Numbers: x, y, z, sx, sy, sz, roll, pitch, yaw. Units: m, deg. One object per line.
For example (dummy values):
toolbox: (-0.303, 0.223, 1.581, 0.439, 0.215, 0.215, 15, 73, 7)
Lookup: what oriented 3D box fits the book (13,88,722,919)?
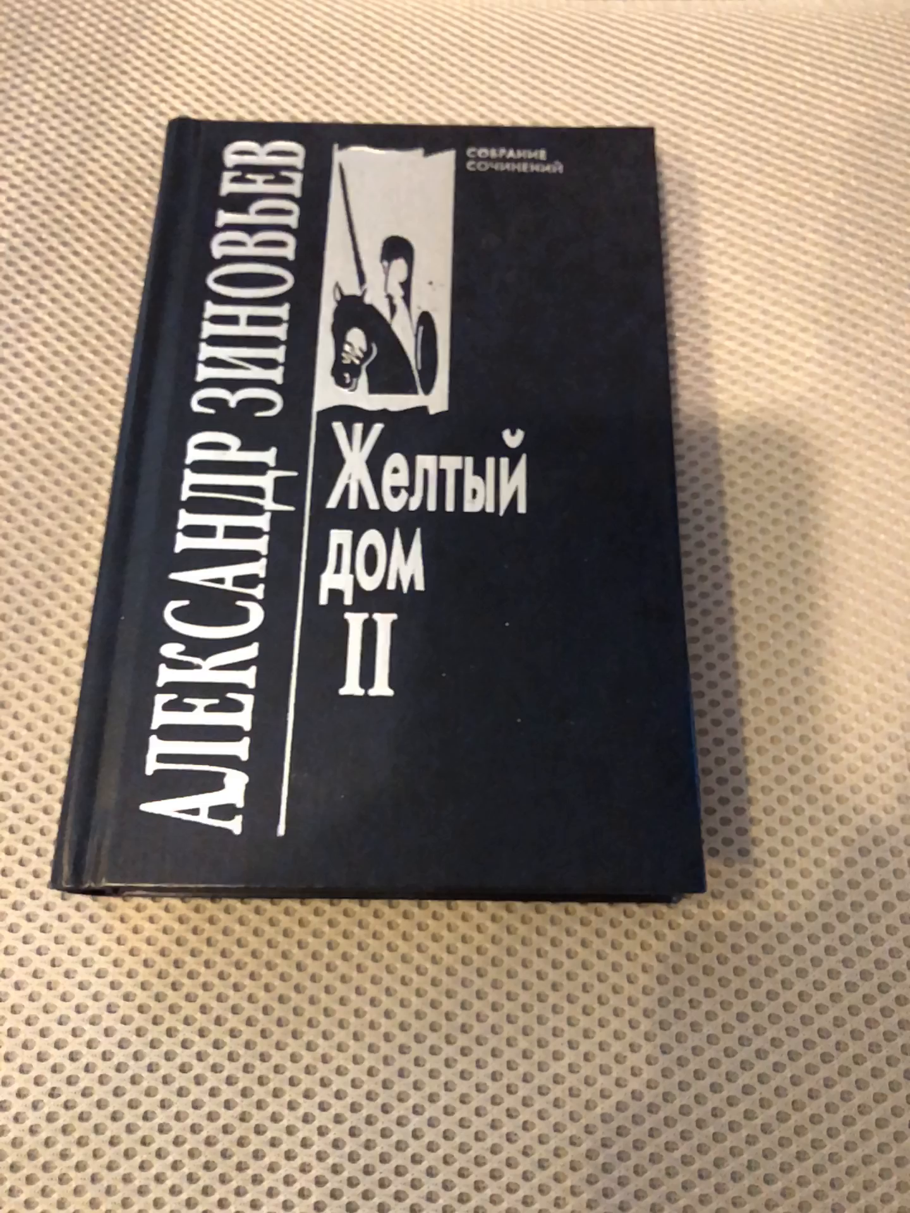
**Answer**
book: (-0.016, -0.035, 0.251, 0.140, 0.030, 0.211, 1, 70, 0)
